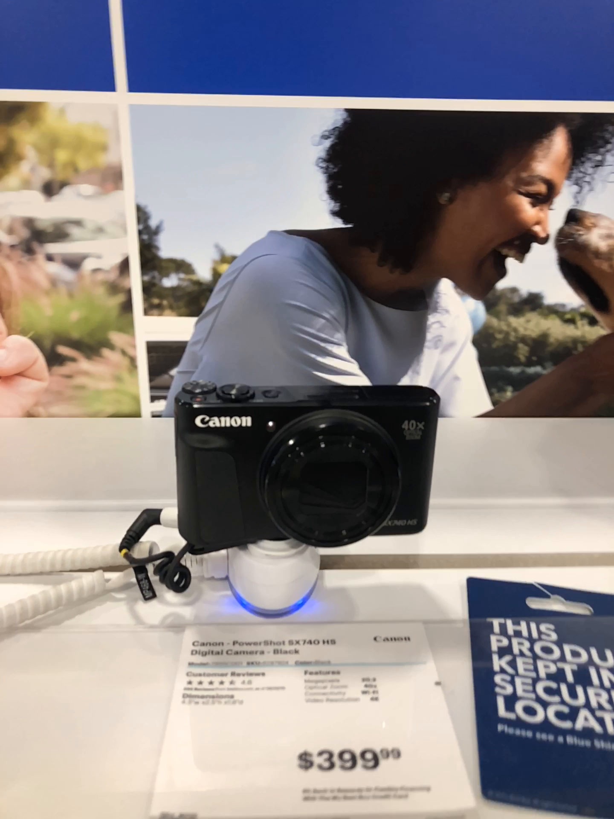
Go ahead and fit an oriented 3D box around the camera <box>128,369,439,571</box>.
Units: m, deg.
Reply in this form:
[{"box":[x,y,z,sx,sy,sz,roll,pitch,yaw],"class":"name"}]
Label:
[{"box":[-0.010,0.024,0.291,0.120,0.070,0.040,-2,21,-8],"class":"camera"}]
